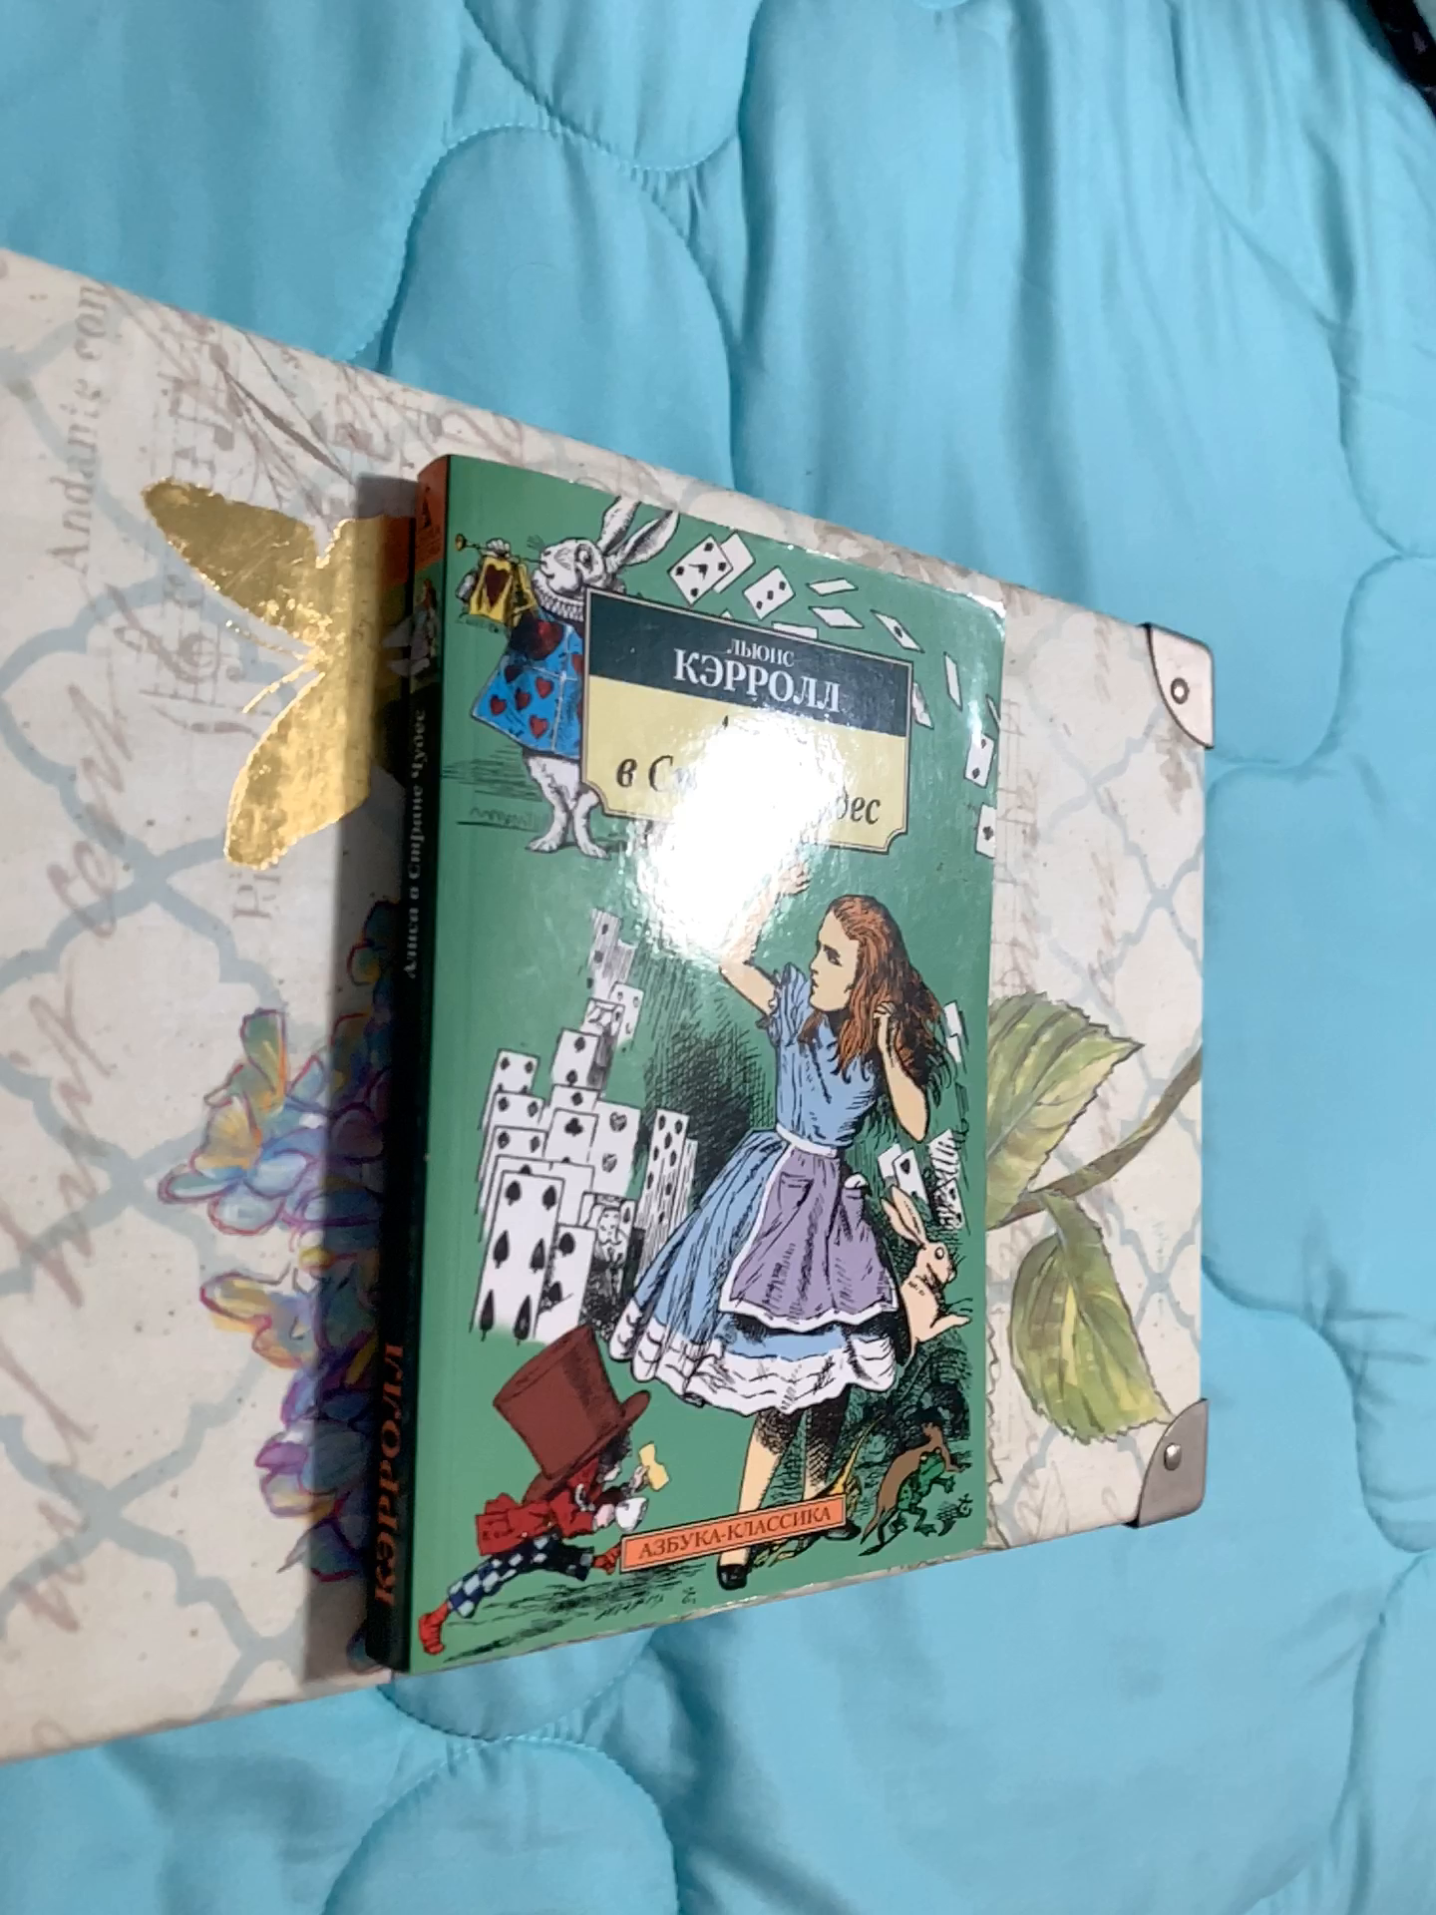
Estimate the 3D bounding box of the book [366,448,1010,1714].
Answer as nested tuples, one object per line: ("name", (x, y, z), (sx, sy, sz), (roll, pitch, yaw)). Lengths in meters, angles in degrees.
("book", (0.002, 0.019, 0.253), (0.119, 0.018, 0.179), (4, 85, -37))
